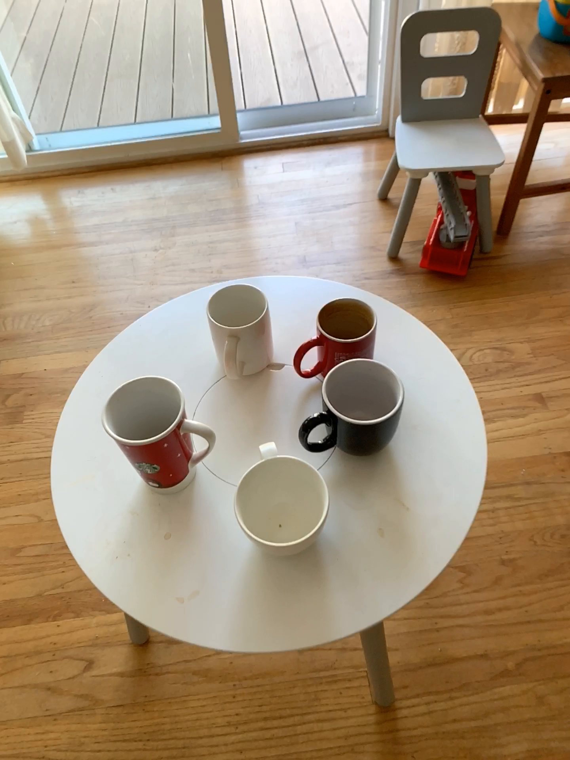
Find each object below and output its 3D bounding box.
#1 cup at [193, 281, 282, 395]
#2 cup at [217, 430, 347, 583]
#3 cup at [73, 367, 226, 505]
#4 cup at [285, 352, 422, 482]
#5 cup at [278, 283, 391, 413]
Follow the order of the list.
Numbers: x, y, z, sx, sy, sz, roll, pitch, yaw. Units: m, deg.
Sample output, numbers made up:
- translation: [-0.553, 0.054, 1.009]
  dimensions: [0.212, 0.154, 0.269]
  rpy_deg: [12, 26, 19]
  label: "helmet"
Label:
- translation: [-0.057, -0.055, 0.769]
  dimensions: [0.100, 0.090, 0.120]
  rpy_deg: [-1, 53, 3]
  label: "cup"
- translation: [-0.006, 0.137, 0.641]
  dimensions: [0.110, 0.060, 0.131]
  rpy_deg: [-12, 53, -6]
  label: "cup"
- translation: [-0.149, 0.067, 0.682]
  dimensions: [0.130, 0.130, 0.100]
  rpy_deg: [3, 53, 5]
  label: "cup"
- translation: [0.077, 0.043, 0.693]
  dimensions: [0.130, 0.080, 0.100]
  rpy_deg: [-13, 53, -6]
  label: "cup"
- translation: [0.065, -0.043, 0.774]
  dimensions: [0.120, 0.100, 0.080]
  rpy_deg: [-38, 60, -22]
  label: "cup"
